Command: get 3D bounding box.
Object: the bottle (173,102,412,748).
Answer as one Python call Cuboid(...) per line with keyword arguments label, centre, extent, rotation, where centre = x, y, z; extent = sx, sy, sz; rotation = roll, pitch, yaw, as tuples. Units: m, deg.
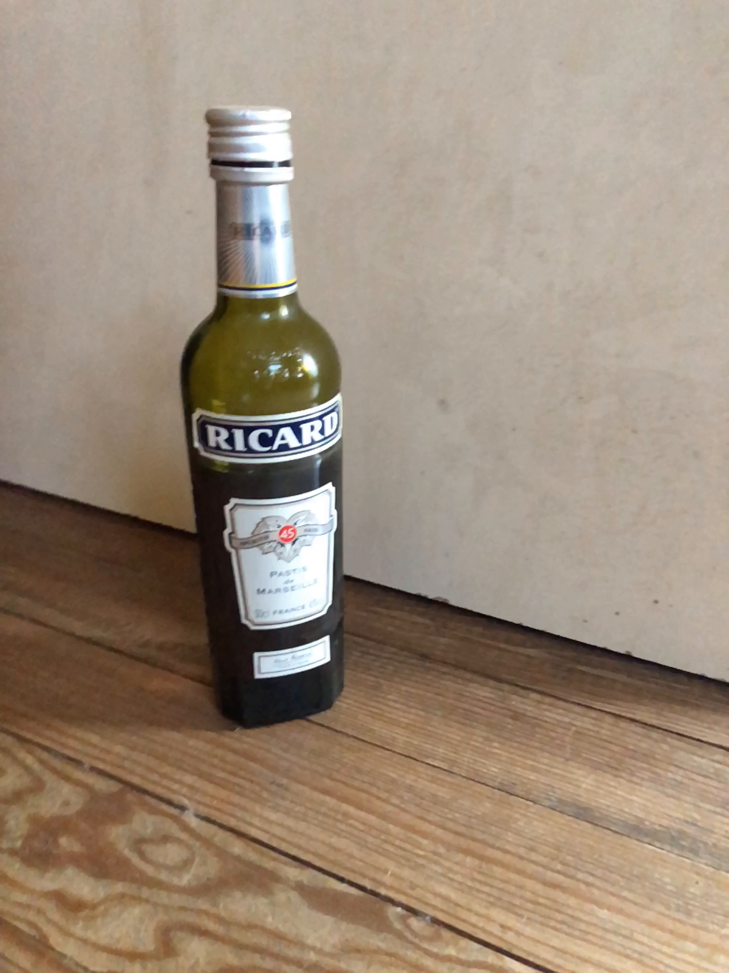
Cuboid(label="bottle", centre=(-0.029, -0.018, 0.339), extent=(0.070, 0.259, 0.060), rotation=(-9, 27, -19))
